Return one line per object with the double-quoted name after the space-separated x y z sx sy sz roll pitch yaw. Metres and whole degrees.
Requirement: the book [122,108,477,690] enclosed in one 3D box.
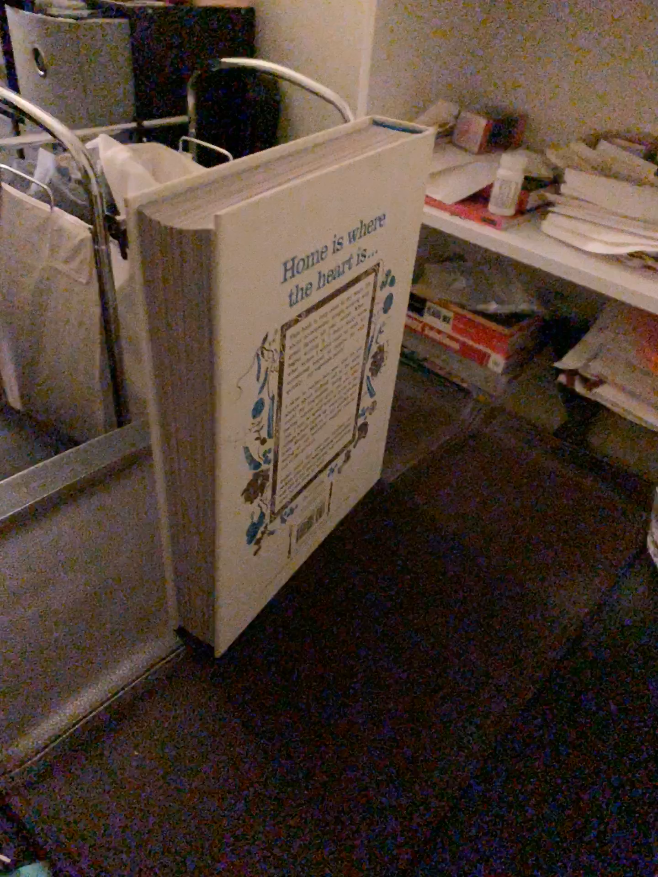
-0.007 -0.025 0.387 0.050 0.268 0.211 24 40 24 "book"
